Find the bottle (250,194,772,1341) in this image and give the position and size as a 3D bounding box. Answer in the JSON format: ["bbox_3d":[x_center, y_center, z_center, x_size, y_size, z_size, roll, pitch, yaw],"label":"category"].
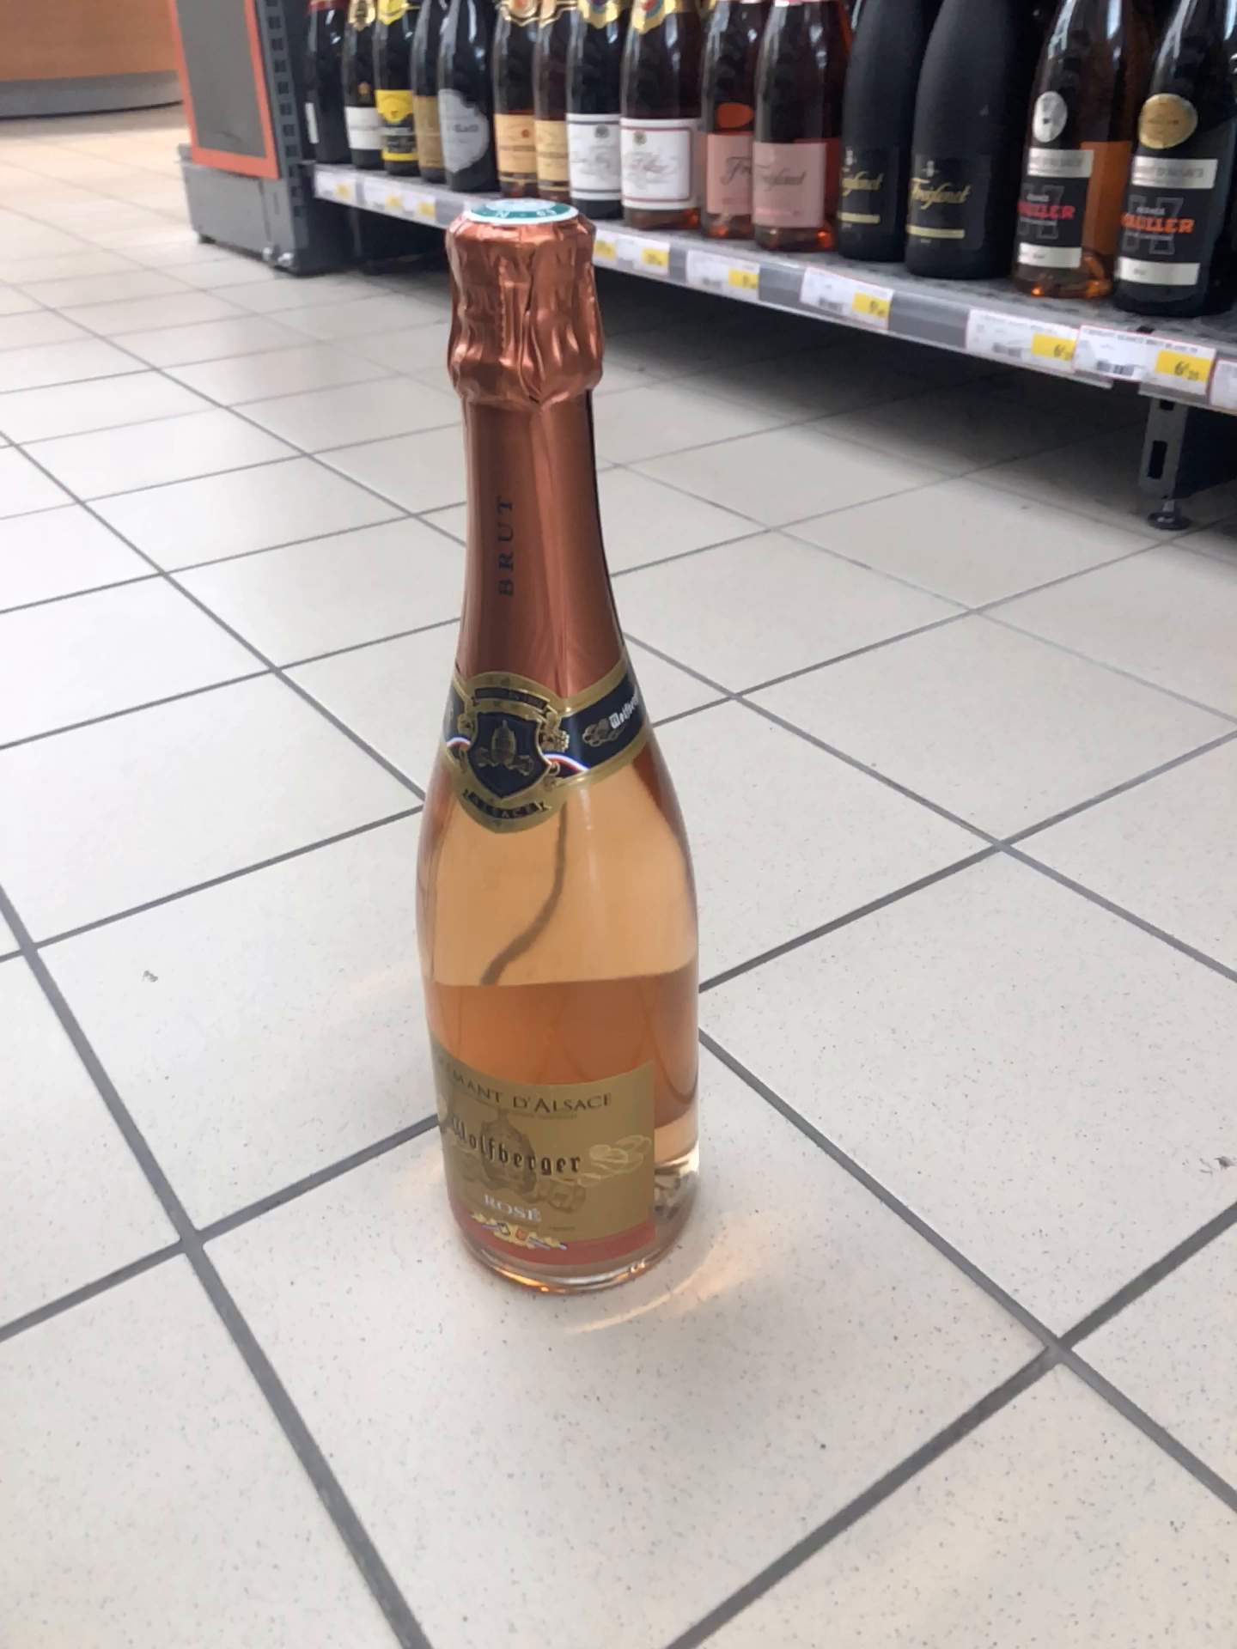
[{"bbox_3d":[-0.016,-0.004,0.386,0.090,0.308,0.091,-1,30,1],"label":"bottle"}]
